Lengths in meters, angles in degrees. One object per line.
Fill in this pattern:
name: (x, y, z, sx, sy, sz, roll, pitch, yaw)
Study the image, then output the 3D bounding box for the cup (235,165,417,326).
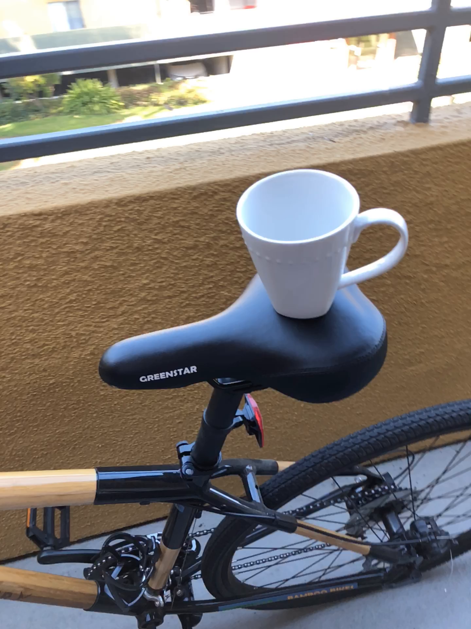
cup: (0.068, -0.058, 0.442, 0.130, 0.100, 0.090, 0, 43, 4)
